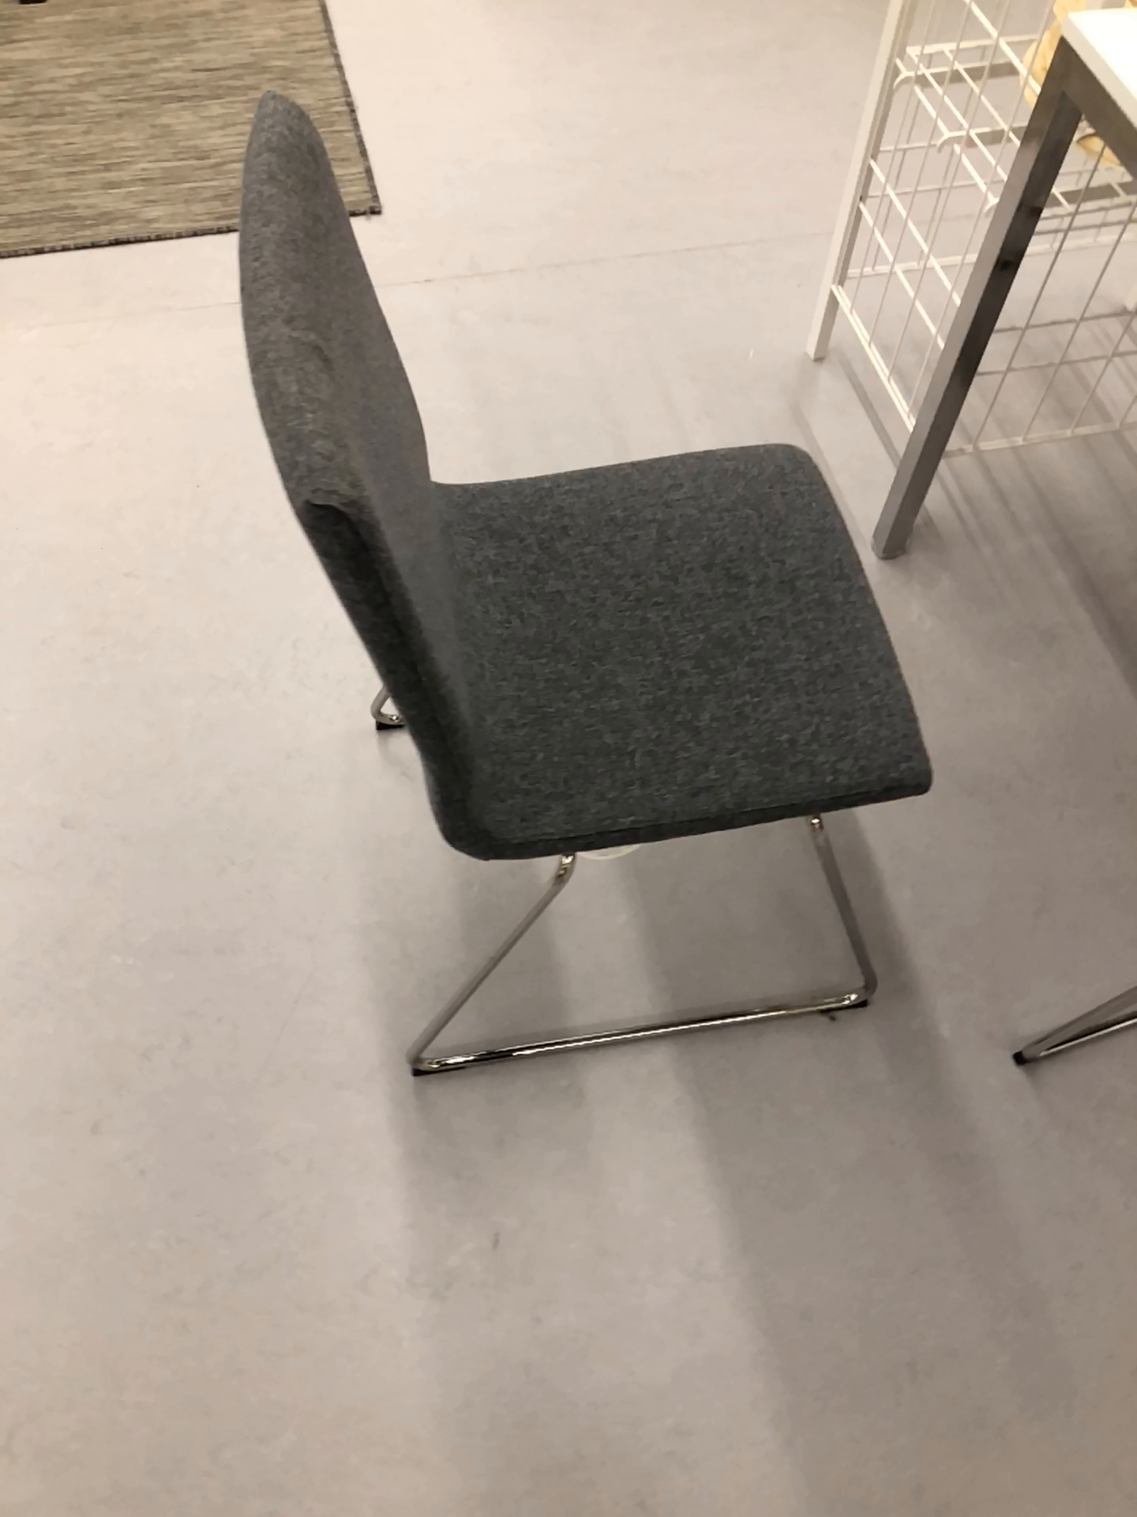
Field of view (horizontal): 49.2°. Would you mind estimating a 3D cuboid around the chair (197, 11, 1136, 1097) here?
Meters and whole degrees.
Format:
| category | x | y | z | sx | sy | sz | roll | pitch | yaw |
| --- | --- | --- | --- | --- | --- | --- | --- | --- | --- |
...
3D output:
| category | x | y | z | sx | sy | sz | roll | pitch | yaw |
| --- | --- | --- | --- | --- | --- | --- | --- | --- | --- |
| chair | 0.053 | -0.107 | 1.152 | 0.590 | 0.836 | 0.512 | -8 | 59 | -7 |
